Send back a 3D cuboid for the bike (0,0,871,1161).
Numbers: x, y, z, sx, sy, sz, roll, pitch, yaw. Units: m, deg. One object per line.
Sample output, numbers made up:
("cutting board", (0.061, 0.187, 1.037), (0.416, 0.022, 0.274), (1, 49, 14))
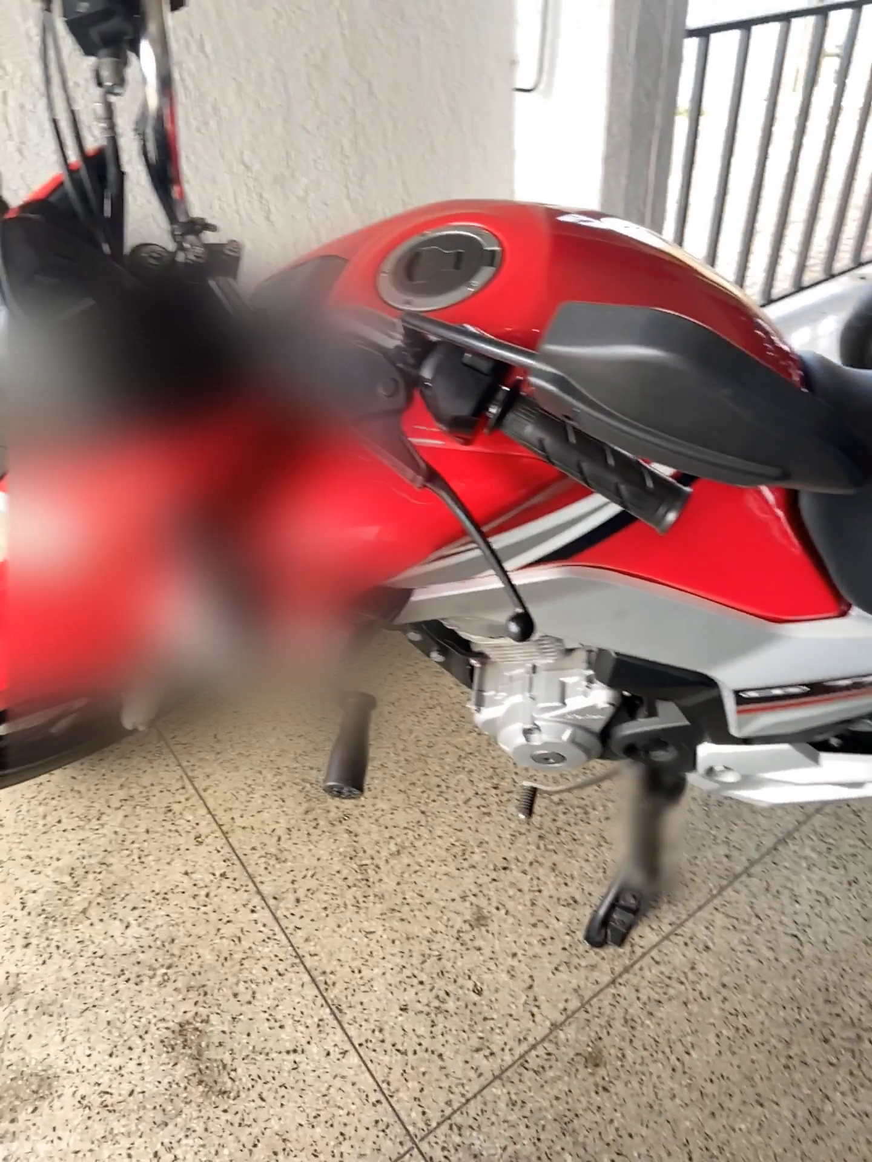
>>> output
("bike", (0.204, 0.117, 0.961), (1.990, 1.421, 0.873), (-3, 38, 4))
